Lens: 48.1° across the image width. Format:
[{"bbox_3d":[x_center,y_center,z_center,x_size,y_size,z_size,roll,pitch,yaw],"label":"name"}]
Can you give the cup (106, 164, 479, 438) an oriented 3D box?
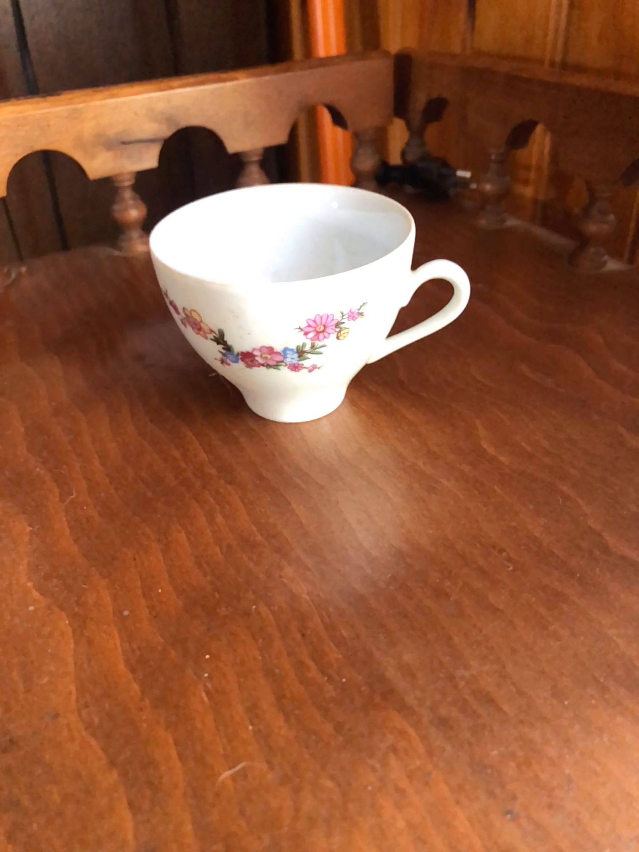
[{"bbox_3d":[-0.001,-0.042,0.217,0.090,0.050,0.081,2,35,8],"label":"cup"}]
